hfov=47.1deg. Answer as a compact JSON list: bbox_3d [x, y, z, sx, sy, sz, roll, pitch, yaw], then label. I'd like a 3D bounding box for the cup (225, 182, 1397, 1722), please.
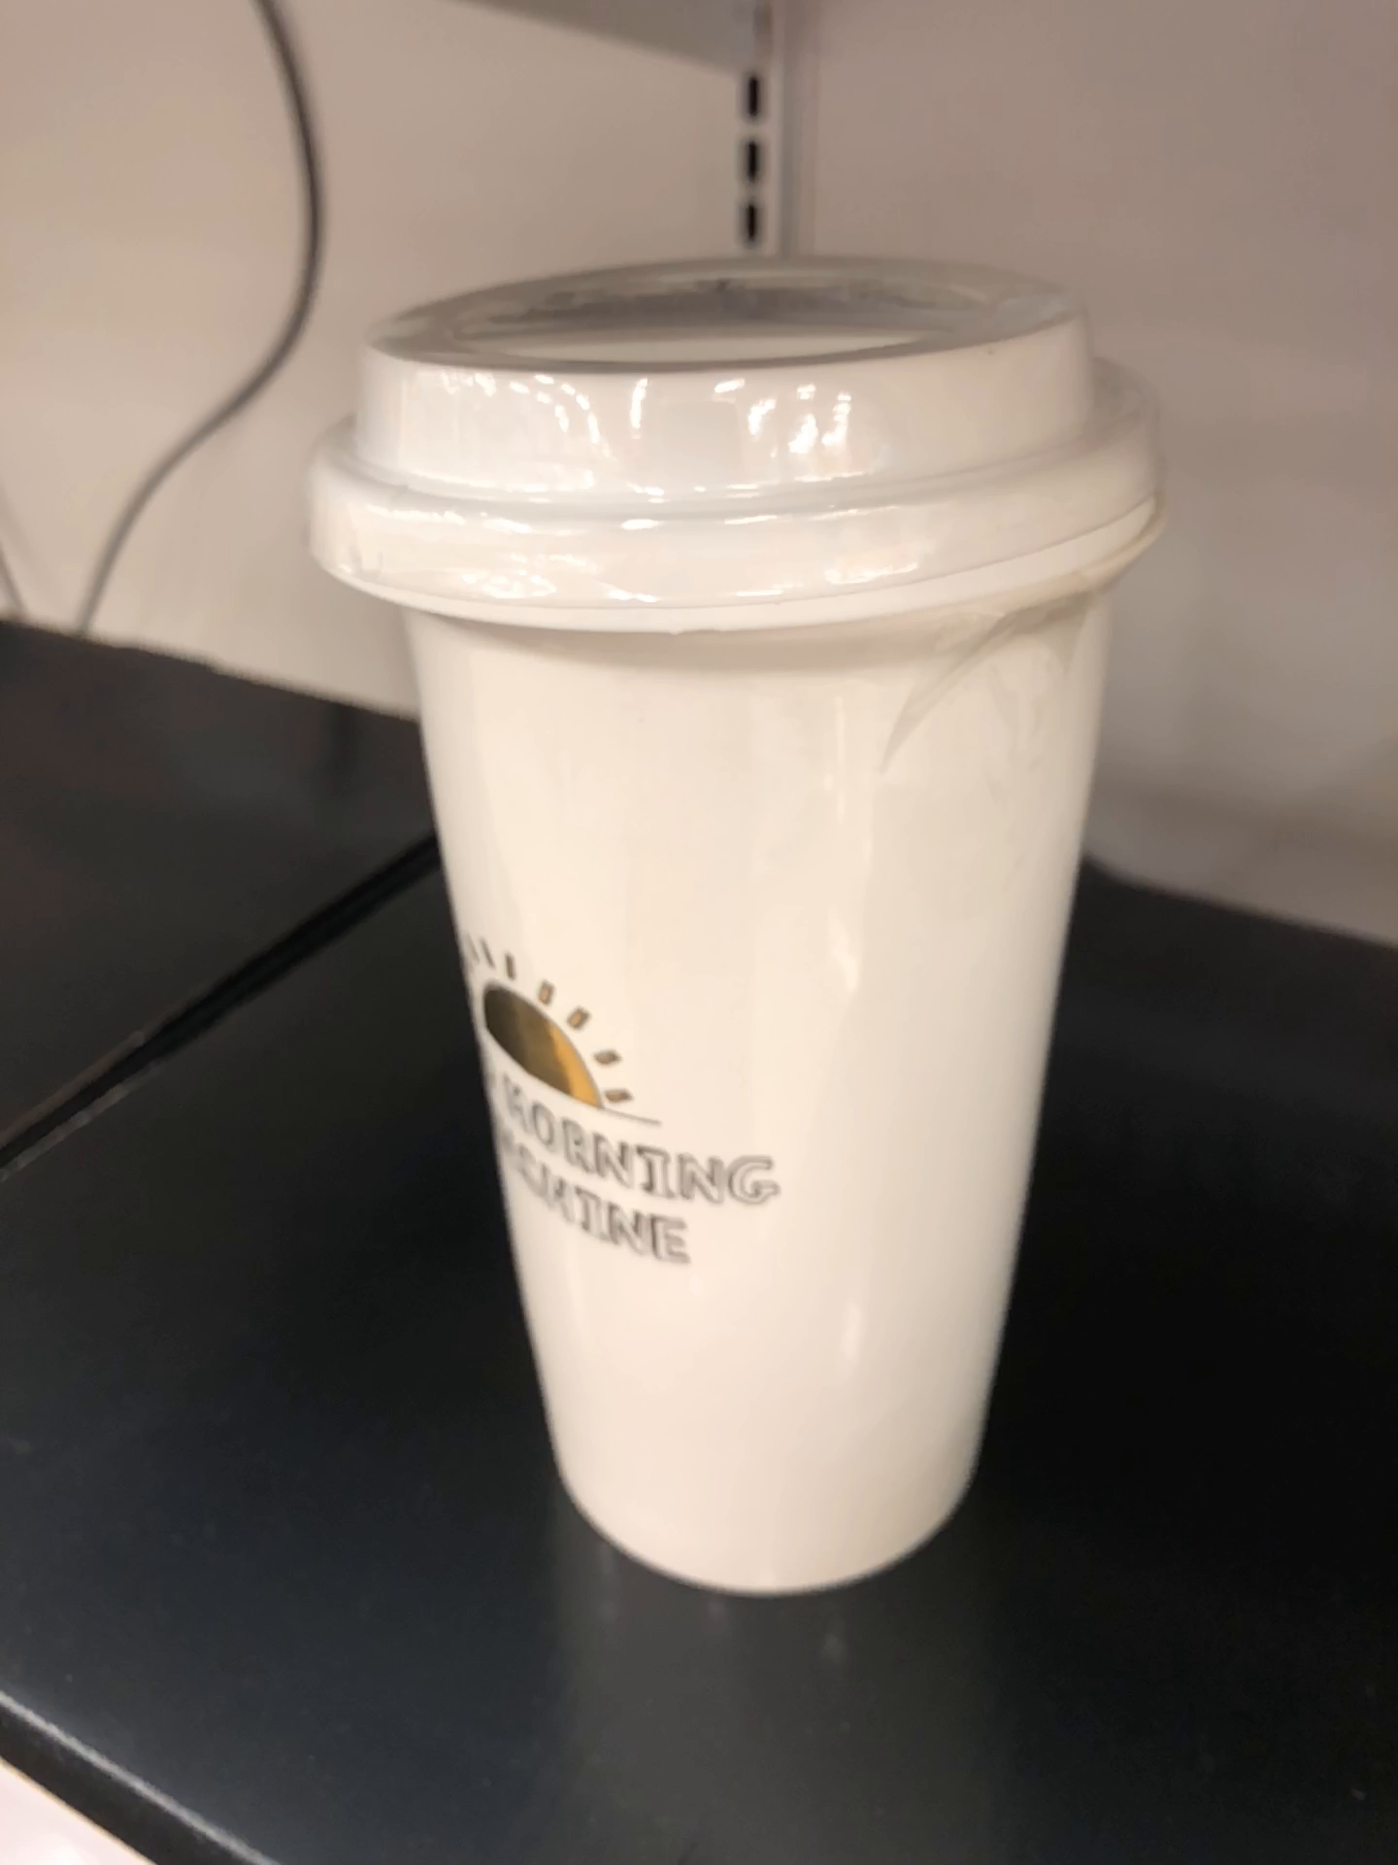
[{"bbox_3d":[0.009,-0.004,0.204,0.100,0.149,0.100,0,32,0],"label":"cup"}]
